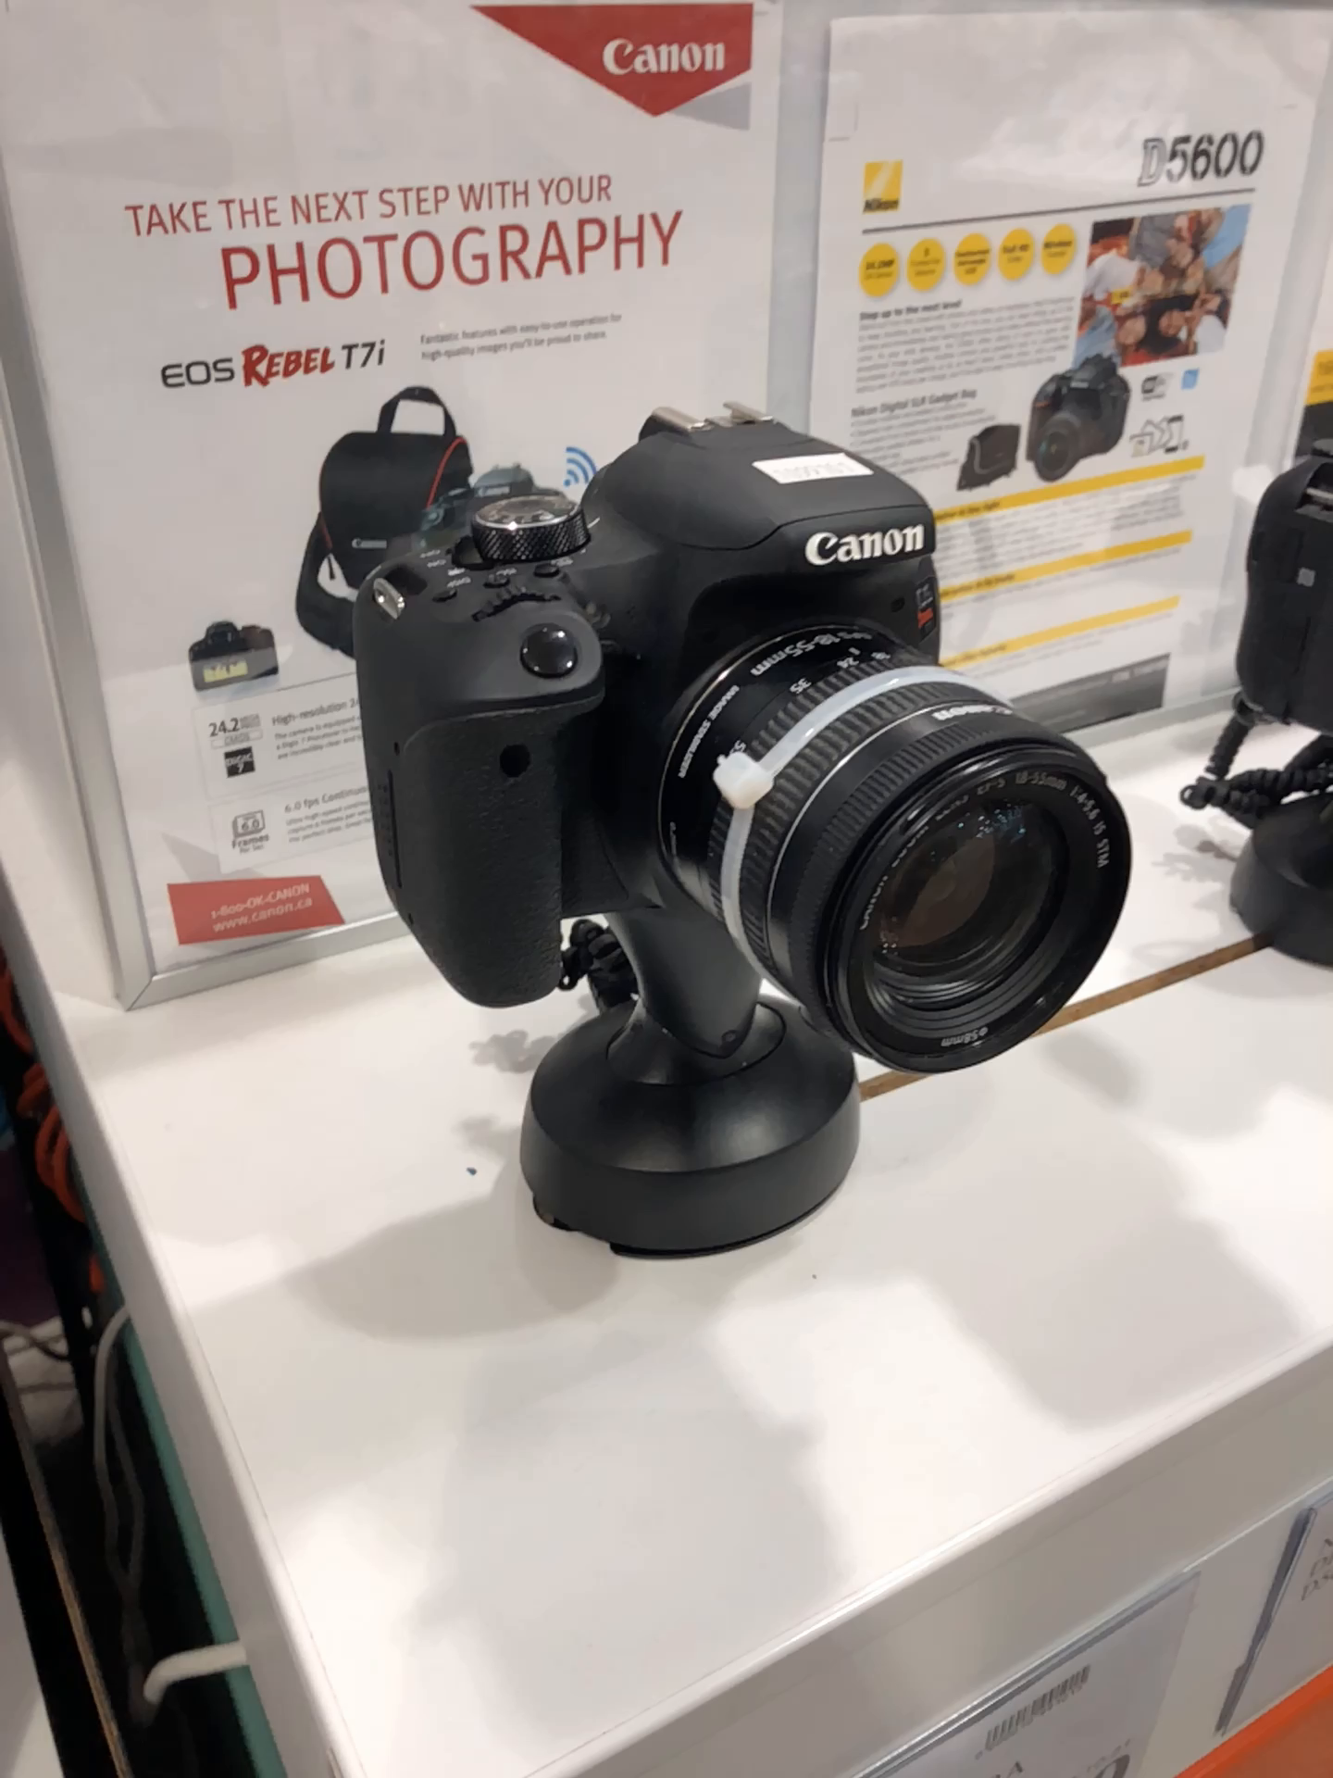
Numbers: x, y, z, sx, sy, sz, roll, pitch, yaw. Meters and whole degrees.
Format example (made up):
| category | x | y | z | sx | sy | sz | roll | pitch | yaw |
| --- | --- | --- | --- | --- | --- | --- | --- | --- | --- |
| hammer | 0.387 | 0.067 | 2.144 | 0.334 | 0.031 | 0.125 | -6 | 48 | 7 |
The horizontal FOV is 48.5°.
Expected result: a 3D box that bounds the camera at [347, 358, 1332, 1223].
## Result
| category | x | y | z | sx | sy | sz | roll | pitch | yaw |
| --- | --- | --- | --- | --- | --- | --- | --- | --- | --- |
| camera | 0.025 | -0.032 | 0.280 | 0.130 | 0.100 | 0.120 | -14 | 33 | -24 |
